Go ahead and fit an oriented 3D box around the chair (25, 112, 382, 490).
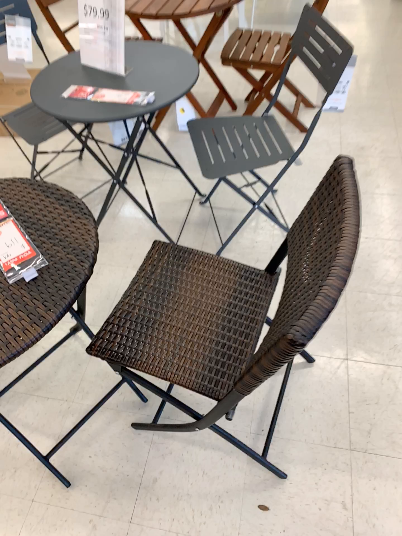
[{"bbox_3d":[0.062,0.119,1.039,0.510,0.767,0.482,14,53,17],"label":"chair"}]
